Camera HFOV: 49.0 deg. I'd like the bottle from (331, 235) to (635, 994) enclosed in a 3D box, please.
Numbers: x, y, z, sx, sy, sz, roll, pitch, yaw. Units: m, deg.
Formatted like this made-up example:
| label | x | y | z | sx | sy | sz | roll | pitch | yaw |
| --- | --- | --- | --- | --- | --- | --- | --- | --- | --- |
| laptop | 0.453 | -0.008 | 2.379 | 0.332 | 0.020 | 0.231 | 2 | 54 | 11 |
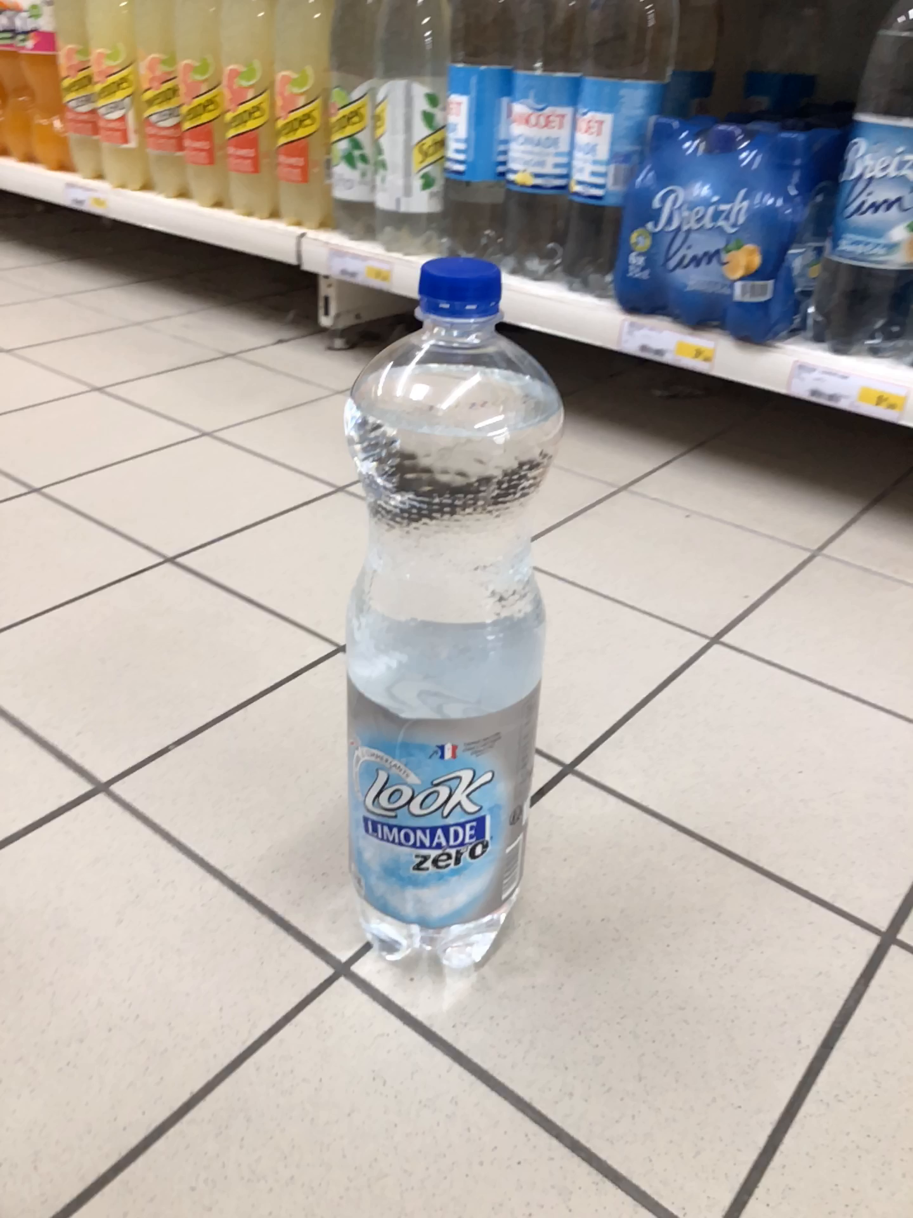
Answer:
| label | x | y | z | sx | sy | sz | roll | pitch | yaw |
| --- | --- | --- | --- | --- | --- | --- | --- | --- | --- |
| bottle | 0.005 | 0.016 | 0.453 | 0.100 | 0.328 | 0.101 | 2 | 30 | -1 |
